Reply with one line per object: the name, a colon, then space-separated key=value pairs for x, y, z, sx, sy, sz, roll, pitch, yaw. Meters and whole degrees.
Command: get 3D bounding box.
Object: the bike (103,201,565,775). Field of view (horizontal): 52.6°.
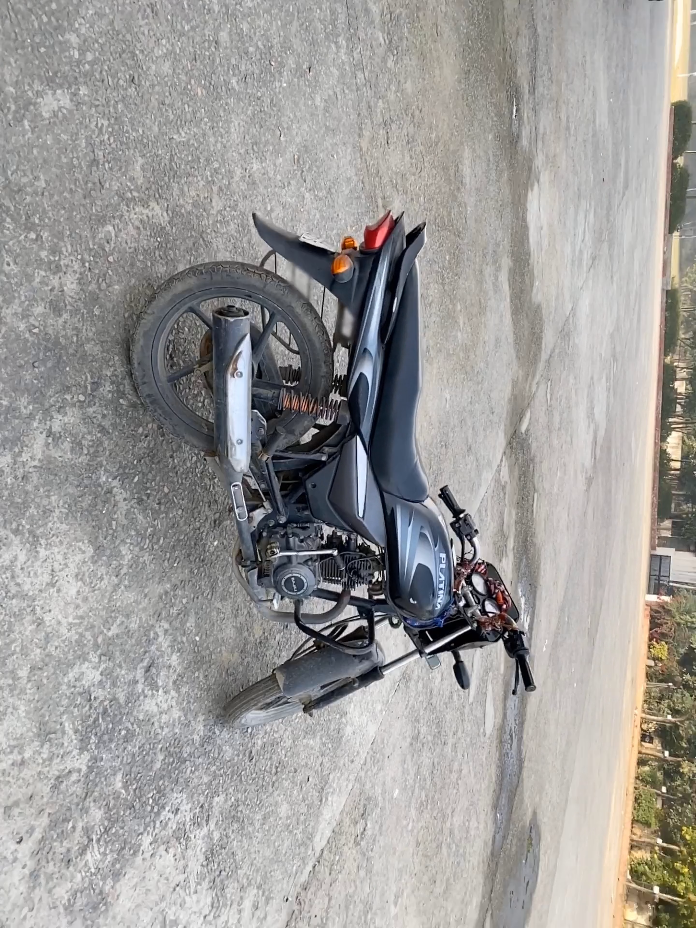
bike: x=0.129 y=0.105 z=2.443 sx=0.774 sy=1.078 sz=1.741 roll=-54 pitch=141 yaw=-49
